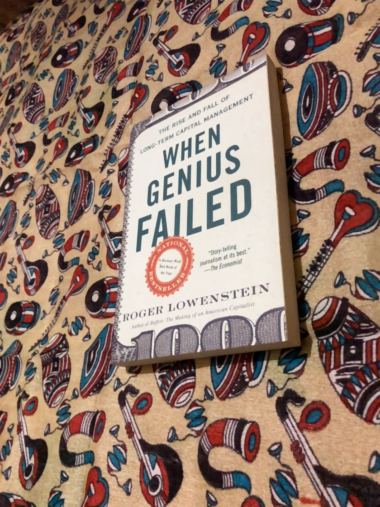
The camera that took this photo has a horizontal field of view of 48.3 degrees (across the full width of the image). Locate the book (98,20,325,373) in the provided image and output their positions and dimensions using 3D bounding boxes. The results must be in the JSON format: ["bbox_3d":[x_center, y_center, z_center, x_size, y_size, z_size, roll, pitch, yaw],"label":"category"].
[{"bbox_3d":[0.006,-0.037,0.295,0.141,0.030,0.220,-16,62,33],"label":"book"}]
